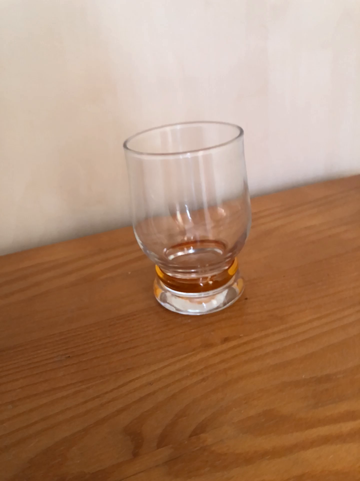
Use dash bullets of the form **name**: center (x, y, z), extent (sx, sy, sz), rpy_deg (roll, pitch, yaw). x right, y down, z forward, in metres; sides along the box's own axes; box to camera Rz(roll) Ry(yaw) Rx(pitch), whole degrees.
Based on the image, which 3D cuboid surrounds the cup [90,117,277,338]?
- **cup**: center (0.005, -0.015, 0.249), extent (0.074, 0.099, 0.076), rpy_deg (-5, 27, 3)
